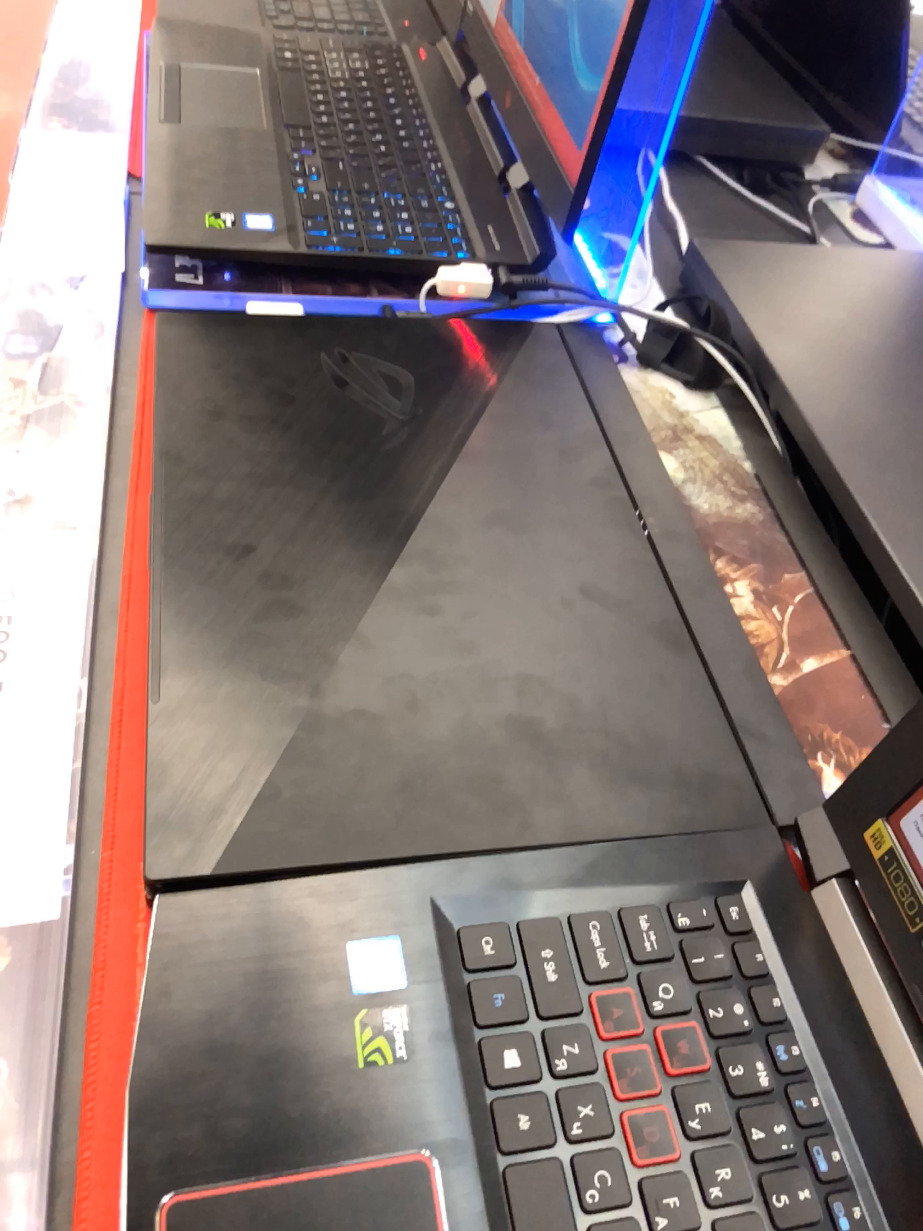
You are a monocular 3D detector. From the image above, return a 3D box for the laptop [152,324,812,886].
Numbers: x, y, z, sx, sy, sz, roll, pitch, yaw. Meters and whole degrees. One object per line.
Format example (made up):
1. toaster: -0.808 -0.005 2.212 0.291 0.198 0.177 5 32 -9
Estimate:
1. laptop: -0.013 -0.040 0.496 0.254 0.006 0.349 -2 48 -12
